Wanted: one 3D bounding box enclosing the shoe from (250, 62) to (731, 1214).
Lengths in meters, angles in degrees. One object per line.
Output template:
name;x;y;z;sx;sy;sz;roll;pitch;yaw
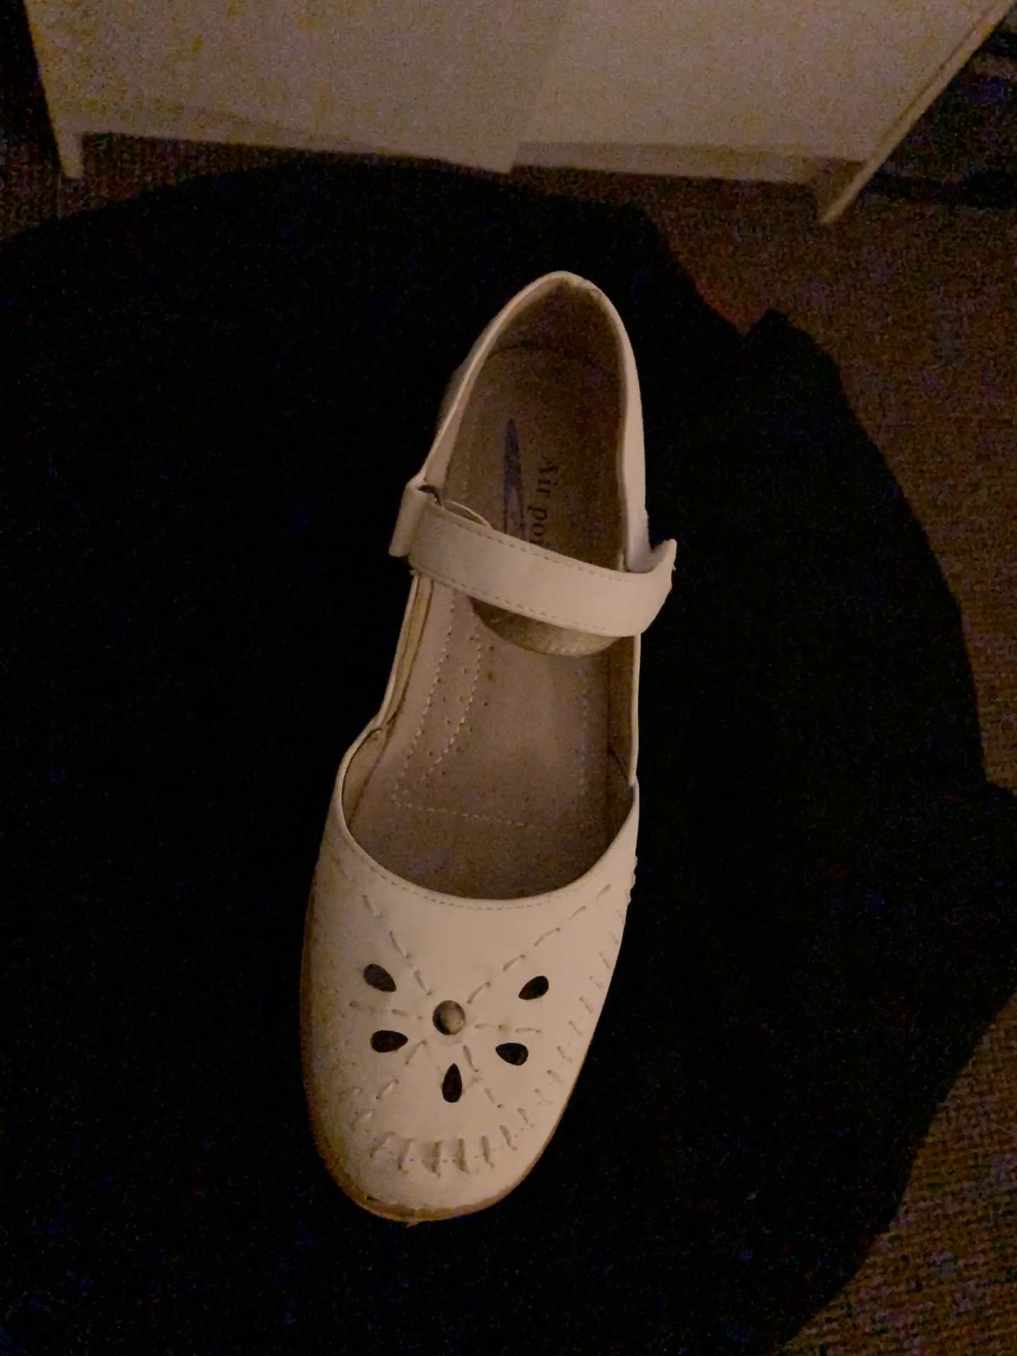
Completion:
shoe;-0.006;-0.012;0.291;0.097;0.100;0.271;7;74;-12
